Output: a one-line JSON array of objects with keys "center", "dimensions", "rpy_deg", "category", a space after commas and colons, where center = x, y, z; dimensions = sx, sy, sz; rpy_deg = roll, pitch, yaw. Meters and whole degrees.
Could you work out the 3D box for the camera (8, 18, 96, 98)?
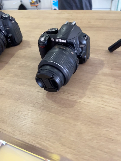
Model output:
[{"center": [-0.002, -0.069, 0.308], "dimensions": [0.130, 0.089, 0.181], "rpy_deg": [12, 49, 21], "category": "camera"}]
